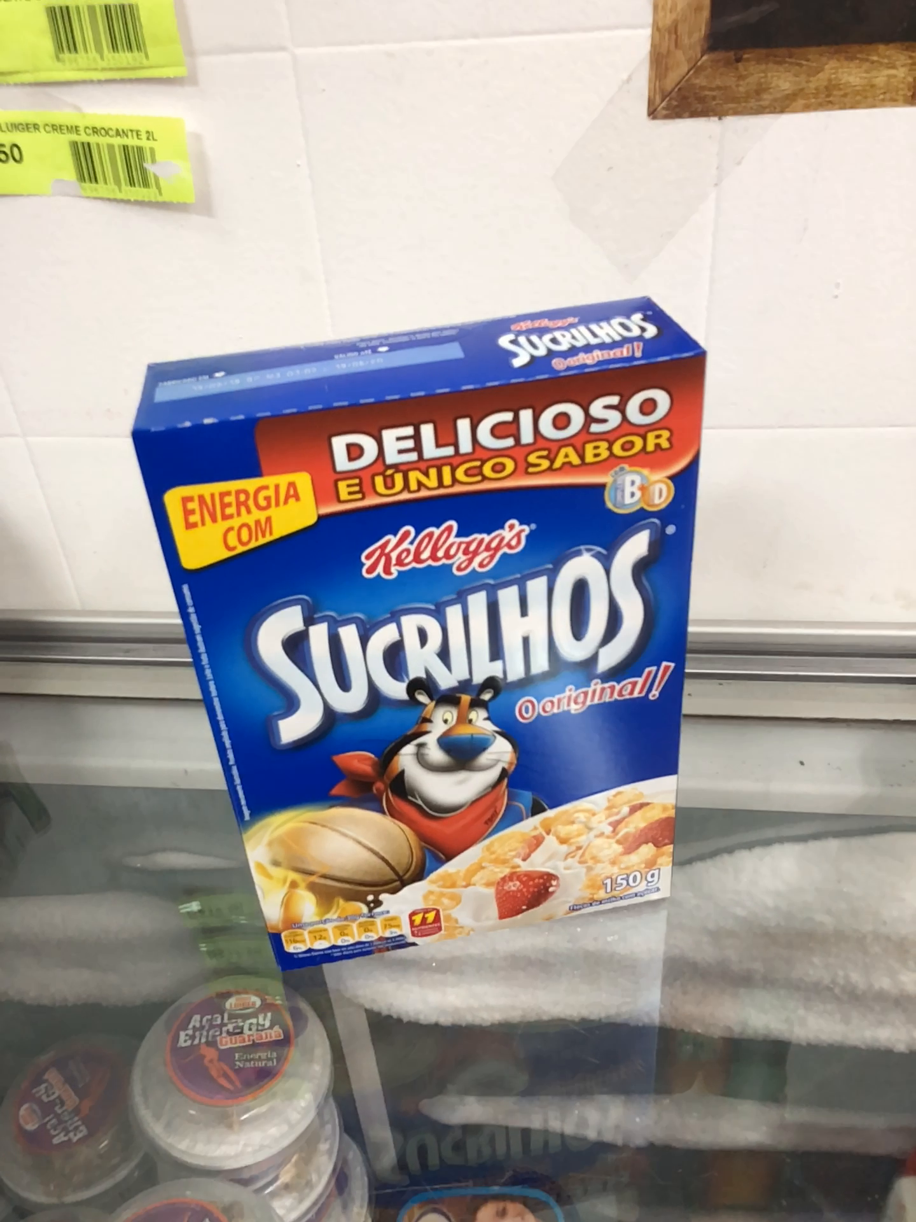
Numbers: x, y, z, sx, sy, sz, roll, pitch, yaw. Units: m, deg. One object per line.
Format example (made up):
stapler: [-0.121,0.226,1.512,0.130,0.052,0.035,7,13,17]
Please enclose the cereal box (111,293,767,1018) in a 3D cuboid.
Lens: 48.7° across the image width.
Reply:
cereal box: [0.000,0.023,0.290,0.140,0.199,0.050,-8,35,-6]
